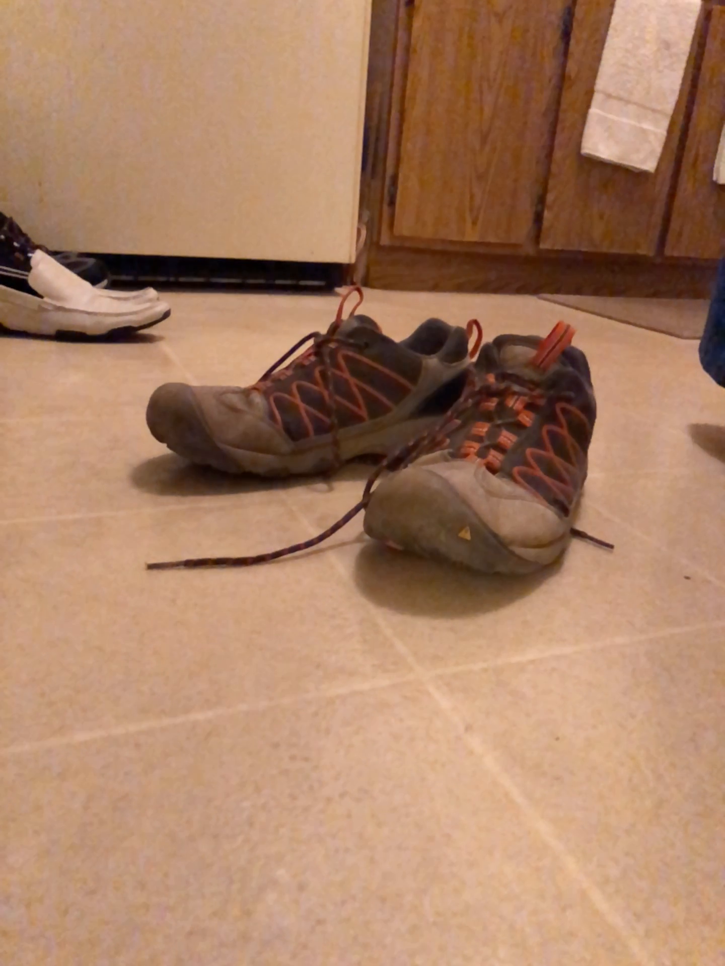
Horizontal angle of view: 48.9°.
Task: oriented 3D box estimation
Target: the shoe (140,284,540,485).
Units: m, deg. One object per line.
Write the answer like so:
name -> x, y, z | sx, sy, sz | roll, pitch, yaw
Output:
shoe -> -0.021, -0.090, 0.653 | 0.292, 0.121, 0.127 | -5, 22, -25

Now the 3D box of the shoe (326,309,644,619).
shoe -> 0.101, -0.038, 0.553 | 0.127, 0.121, 0.283 | 13, 22, 22
